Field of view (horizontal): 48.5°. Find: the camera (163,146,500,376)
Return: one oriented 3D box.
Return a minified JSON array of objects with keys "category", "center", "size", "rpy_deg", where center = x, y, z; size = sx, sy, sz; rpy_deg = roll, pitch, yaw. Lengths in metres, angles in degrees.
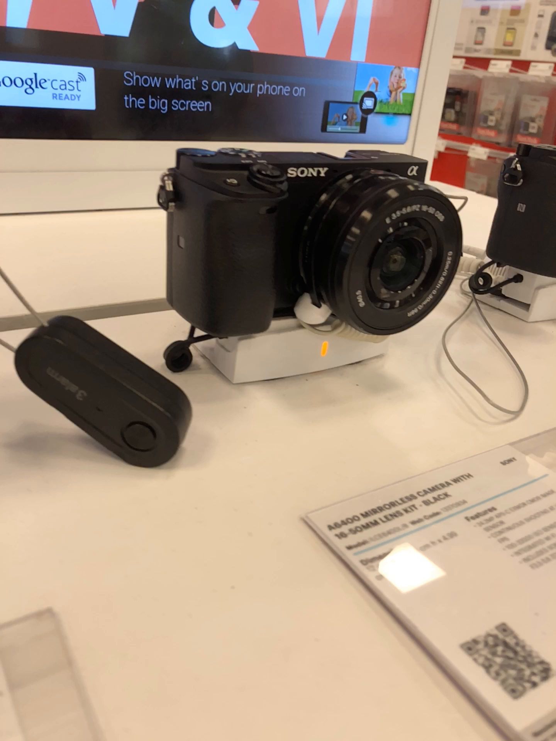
[{"category":"camera","center":[0.020,-0.055,0.267],"size":[0.120,0.070,0.070],"rpy_deg":[-12,31,-31]}]
